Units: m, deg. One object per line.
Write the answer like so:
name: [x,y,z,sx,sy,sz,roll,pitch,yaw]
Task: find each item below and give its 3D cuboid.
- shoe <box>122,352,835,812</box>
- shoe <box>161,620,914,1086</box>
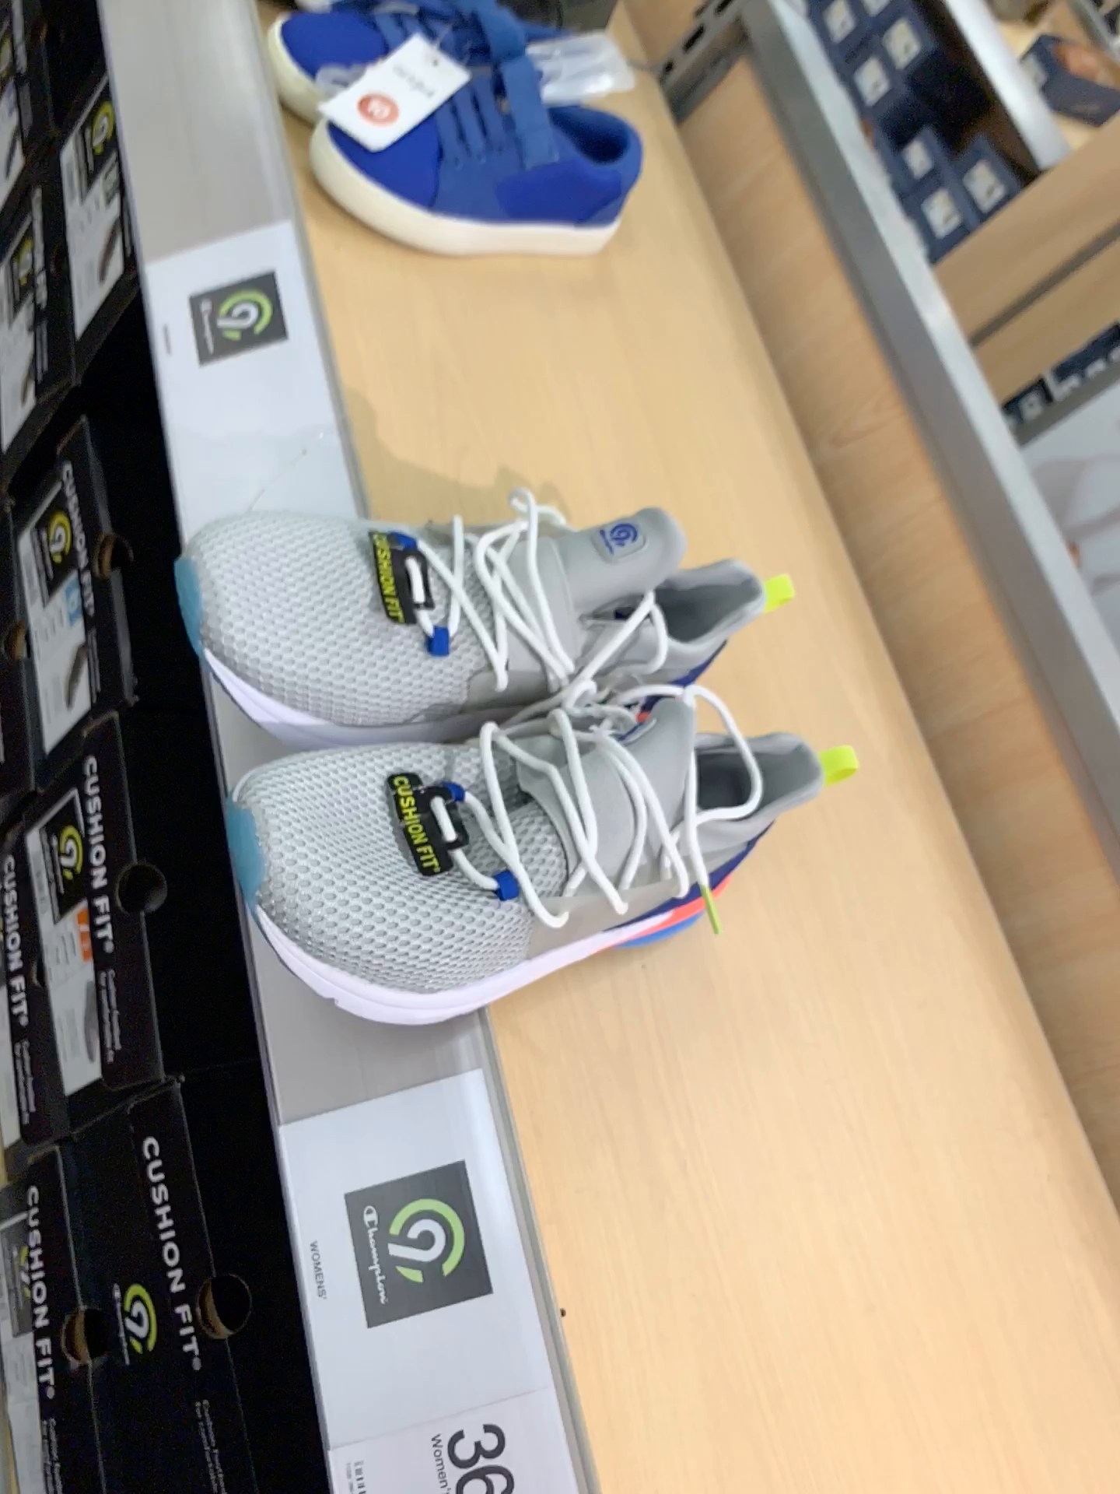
shoe: [-0.019,-0.047,0.469,0.271,0.090,0.110,5,60,-43]
shoe: [0.009,0.029,0.437,0.271,0.090,0.110,-2,66,-46]
